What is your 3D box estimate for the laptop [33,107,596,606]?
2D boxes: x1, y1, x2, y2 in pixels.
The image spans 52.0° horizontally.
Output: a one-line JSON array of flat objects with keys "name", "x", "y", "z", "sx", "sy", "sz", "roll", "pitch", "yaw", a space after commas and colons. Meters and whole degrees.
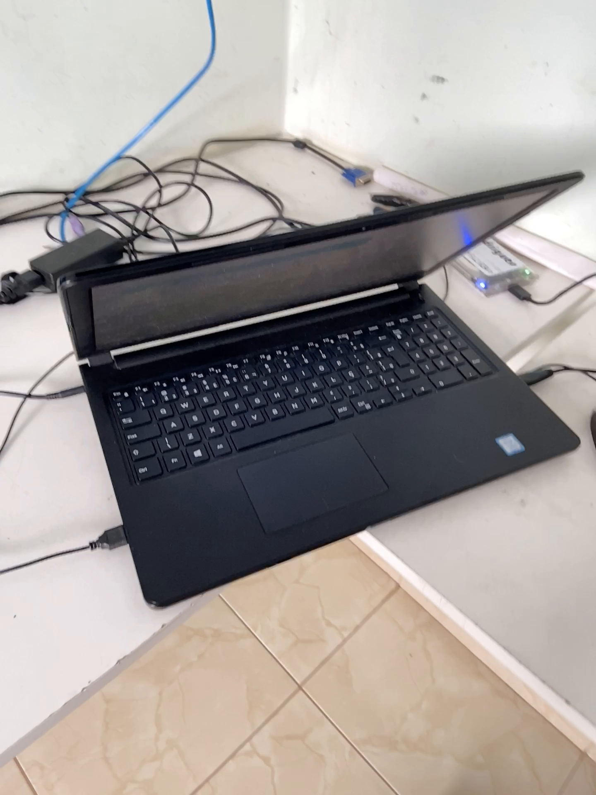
[{"name": "laptop", "x": 0.027, "y": -0.066, "z": 0.480, "sx": 0.372, "sy": 0.192, "sz": 0.256, "roll": -16, "pitch": 48, "yaw": -21}]
